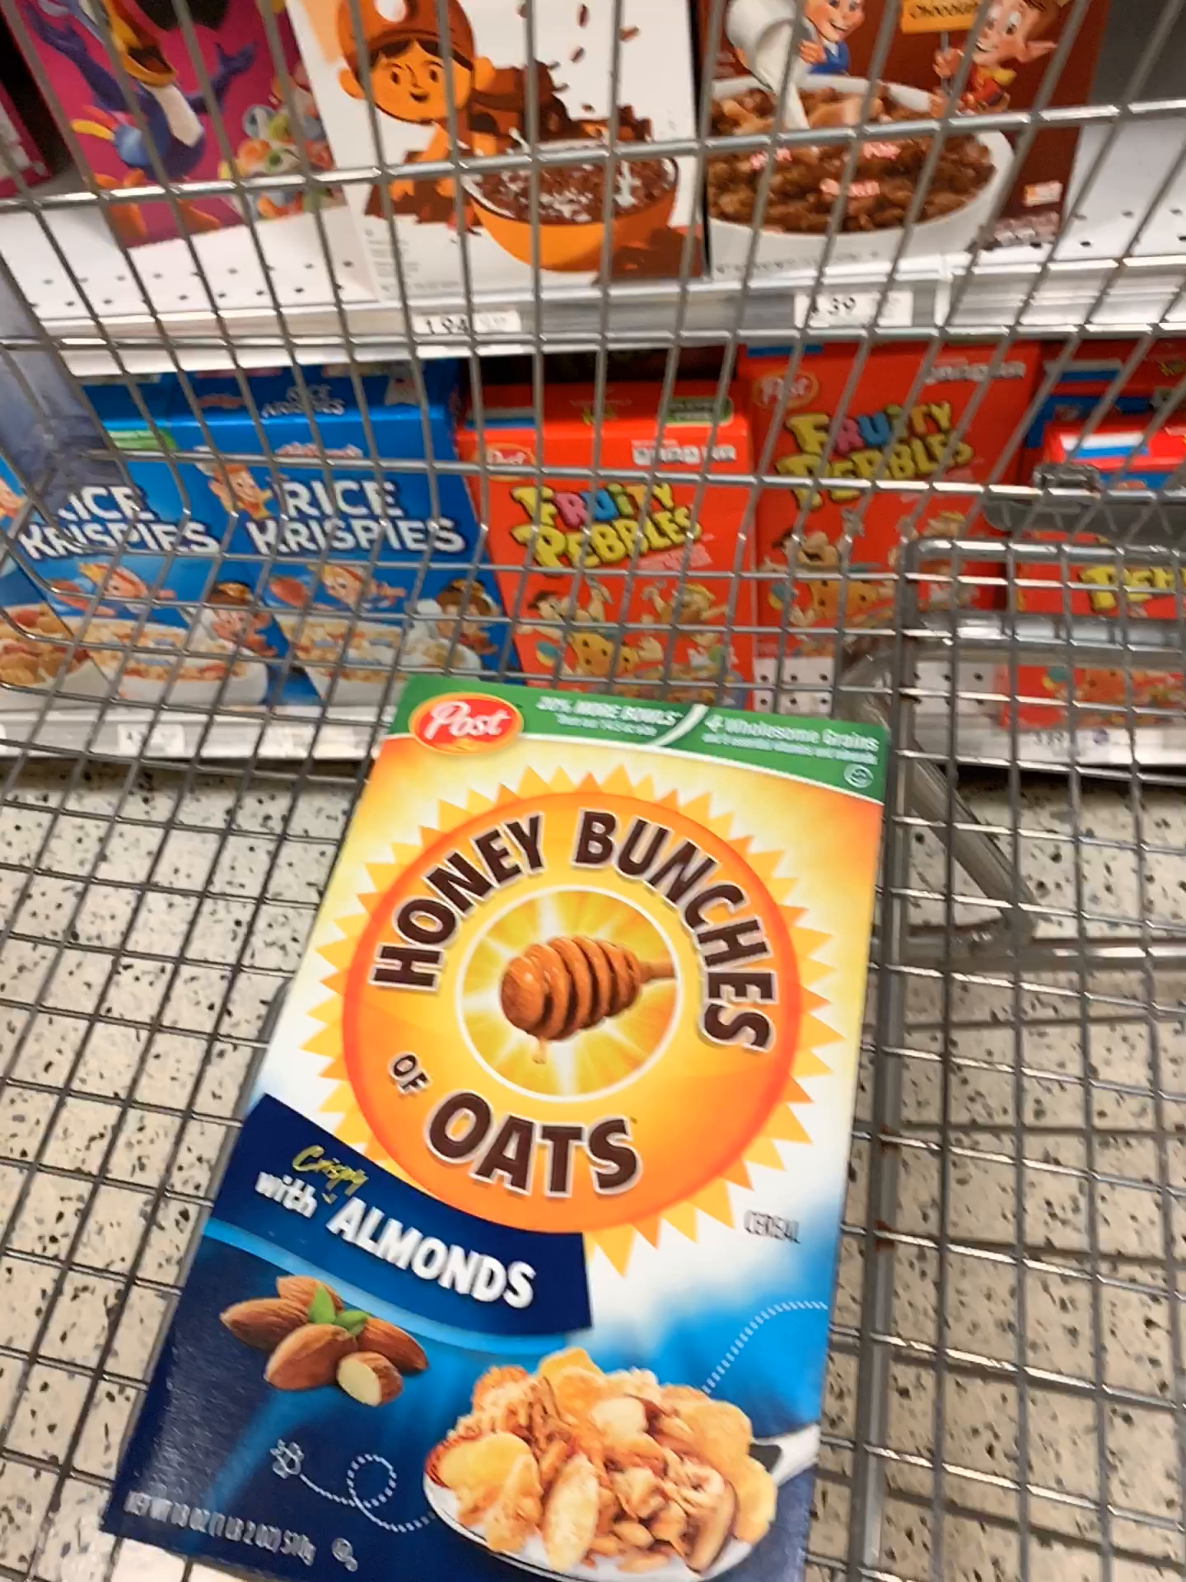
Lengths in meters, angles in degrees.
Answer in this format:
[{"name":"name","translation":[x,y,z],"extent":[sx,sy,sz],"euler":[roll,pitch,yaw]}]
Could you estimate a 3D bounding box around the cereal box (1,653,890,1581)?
[{"name":"cereal box","translation":[-0.023,0.101,0.410],"extent":[0.210,0.060,0.302],"euler":[7,59,11]}]
